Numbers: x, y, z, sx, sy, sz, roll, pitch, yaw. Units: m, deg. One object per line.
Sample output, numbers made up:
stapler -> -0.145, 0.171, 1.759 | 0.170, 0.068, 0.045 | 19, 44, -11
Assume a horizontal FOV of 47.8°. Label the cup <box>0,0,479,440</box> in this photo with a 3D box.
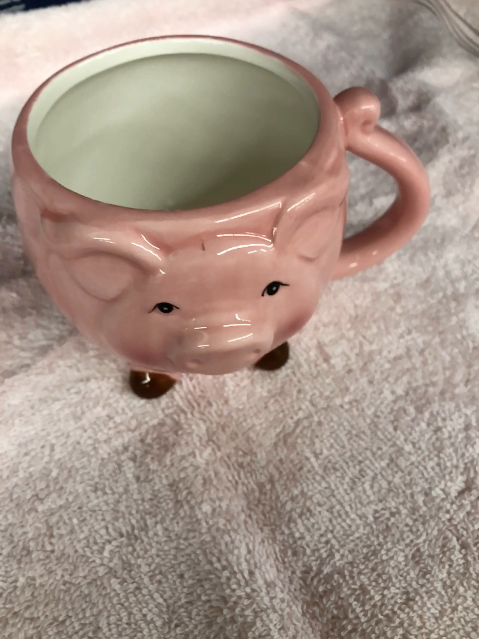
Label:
cup -> 0.009, -0.037, 0.176 | 0.150, 0.090, 0.101 | -8, 56, -6
